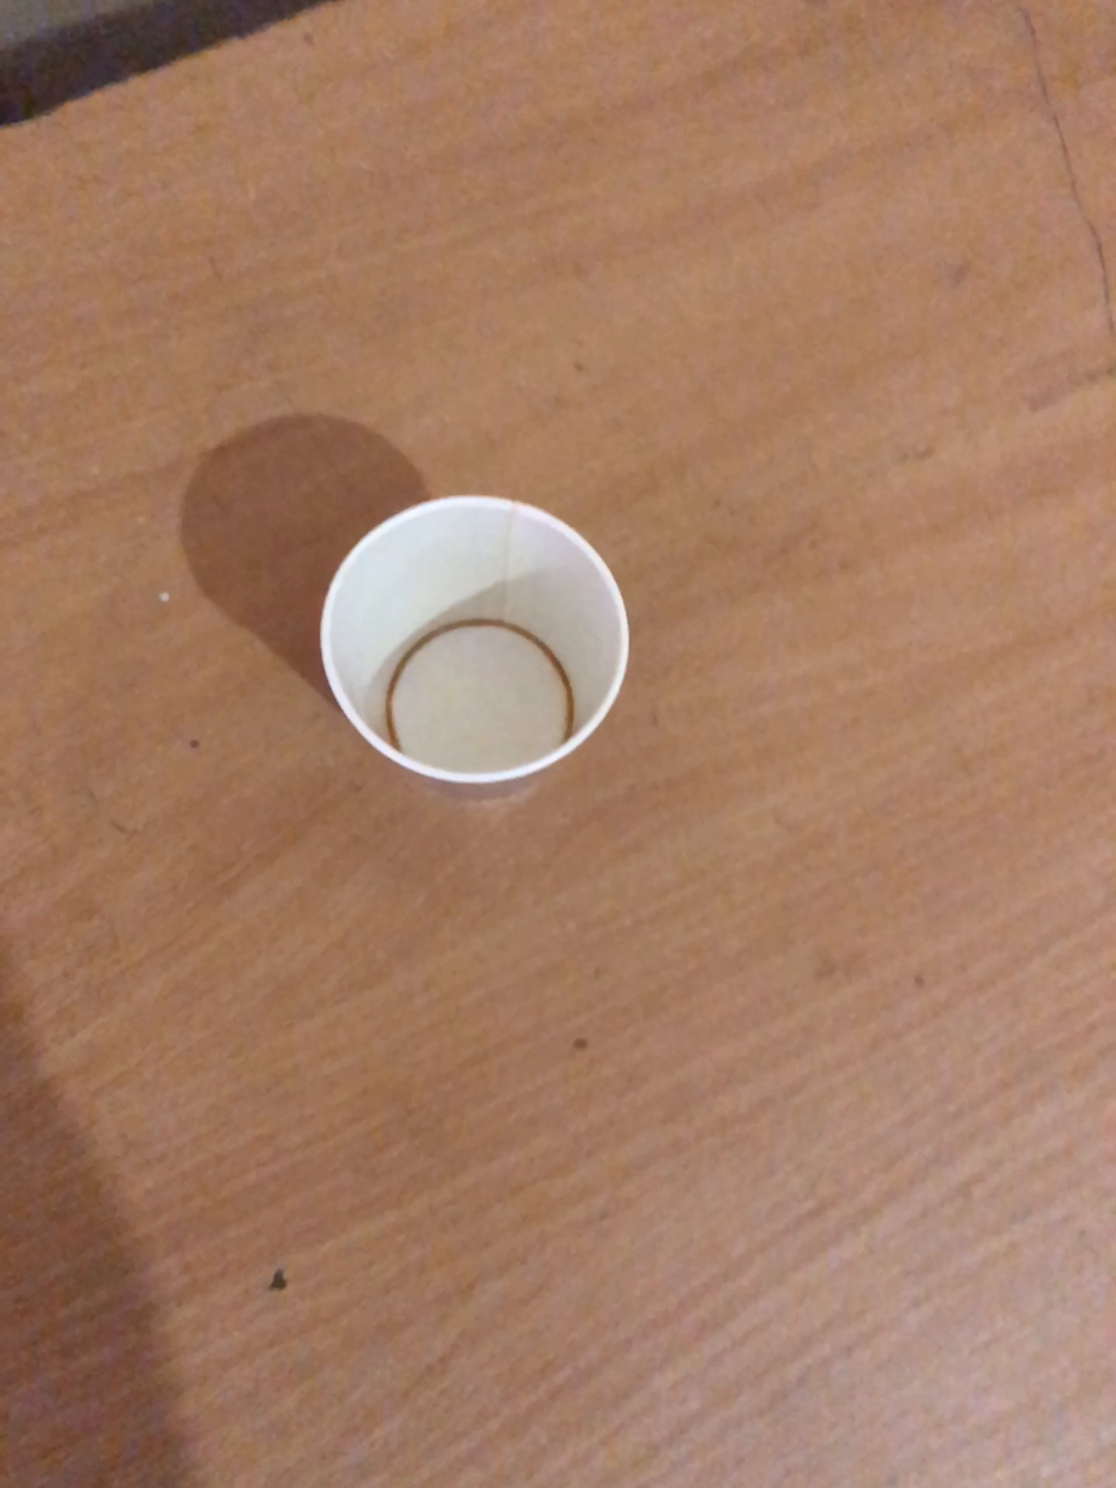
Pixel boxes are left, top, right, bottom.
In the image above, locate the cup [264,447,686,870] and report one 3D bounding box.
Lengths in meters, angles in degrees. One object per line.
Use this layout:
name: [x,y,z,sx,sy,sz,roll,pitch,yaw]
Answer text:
cup: [-0.019,-0.018,0.320,0.074,0.064,0.067,29,79,5]
